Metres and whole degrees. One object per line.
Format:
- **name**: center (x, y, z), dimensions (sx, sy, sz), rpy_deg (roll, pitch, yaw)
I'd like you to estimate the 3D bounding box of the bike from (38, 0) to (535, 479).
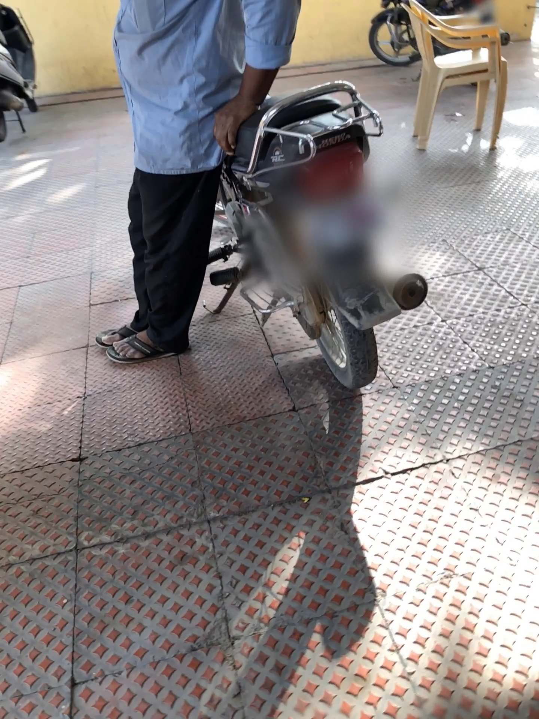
- **bike**: center (-0.086, -0.605, 1.749), dimensions (0.818, 1.062, 1.305), rpy_deg (-15, 38, -13)
